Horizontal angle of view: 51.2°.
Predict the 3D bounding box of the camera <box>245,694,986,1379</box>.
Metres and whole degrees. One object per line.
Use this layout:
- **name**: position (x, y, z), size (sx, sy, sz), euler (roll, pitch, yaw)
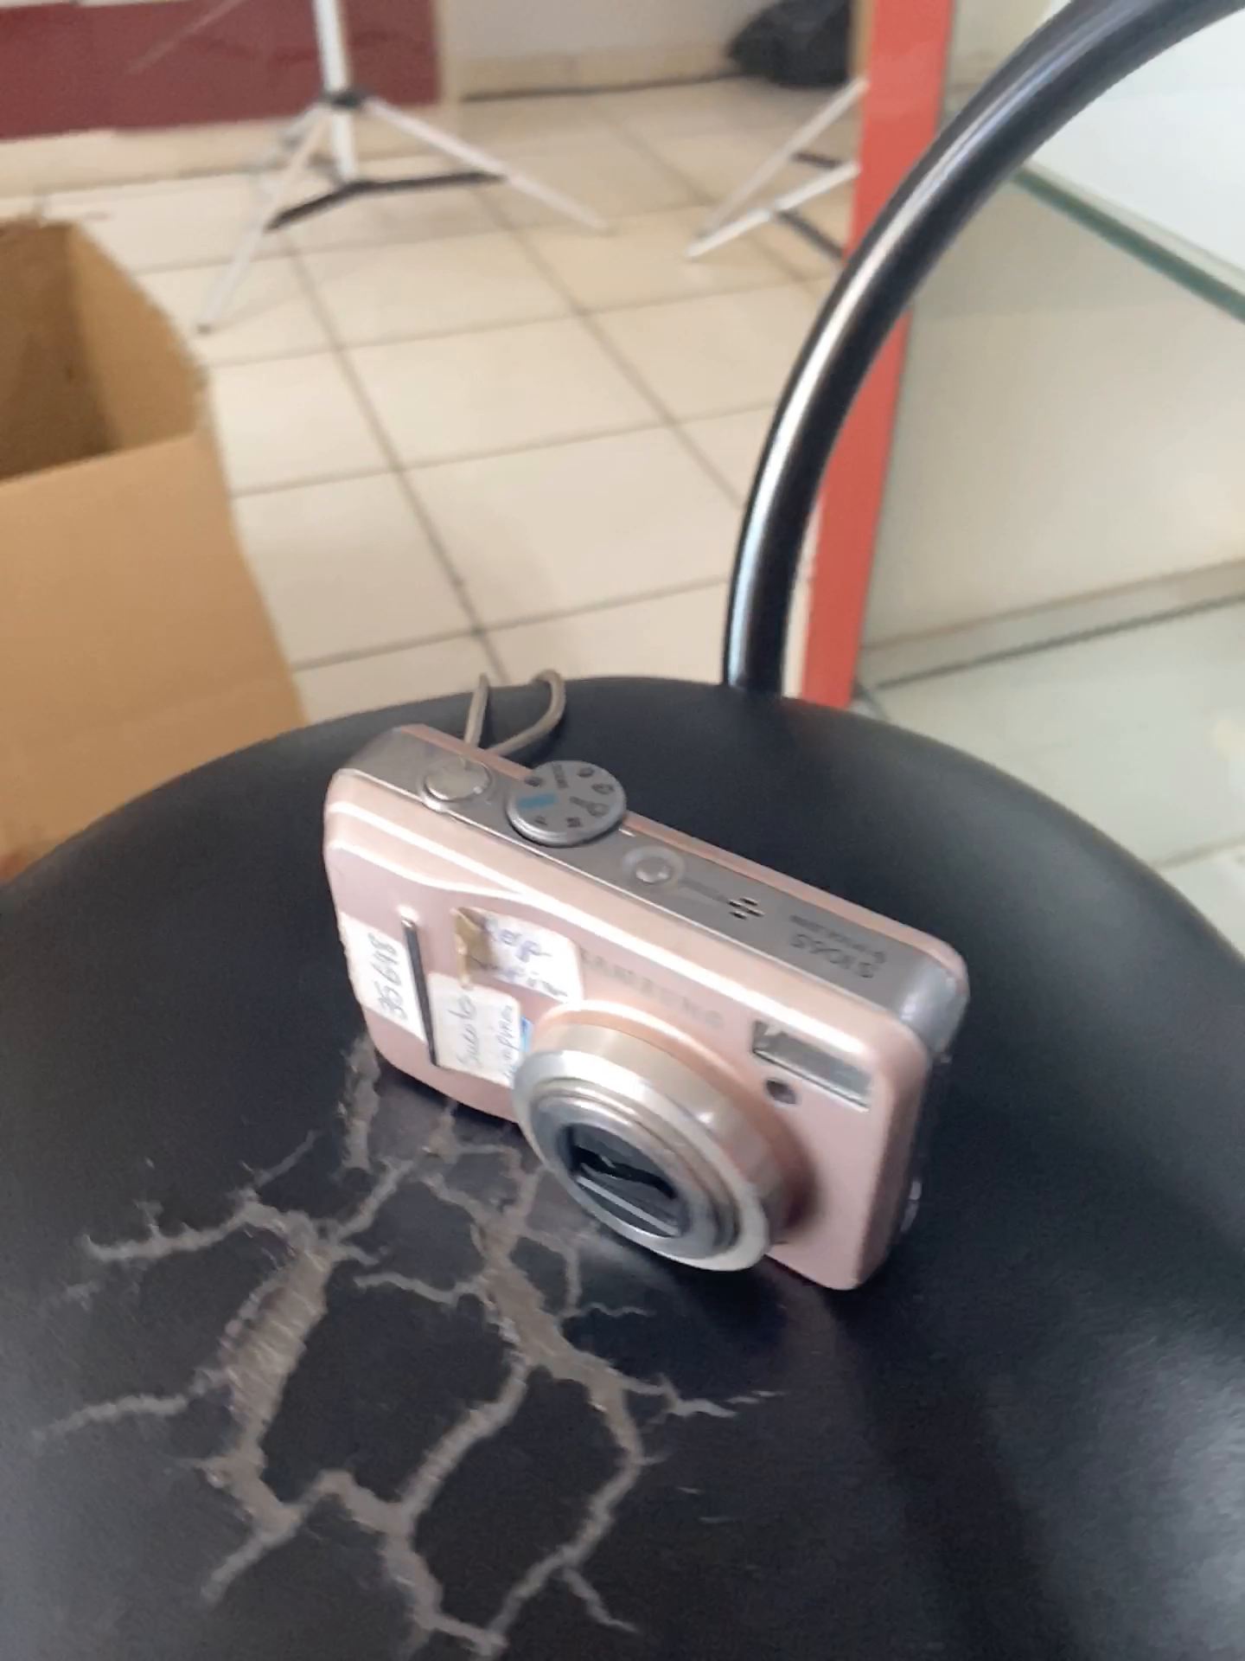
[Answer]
- **camera**: position (-0.002, 0.031, 0.210), size (0.100, 0.070, 0.040), euler (21, 47, 21)
